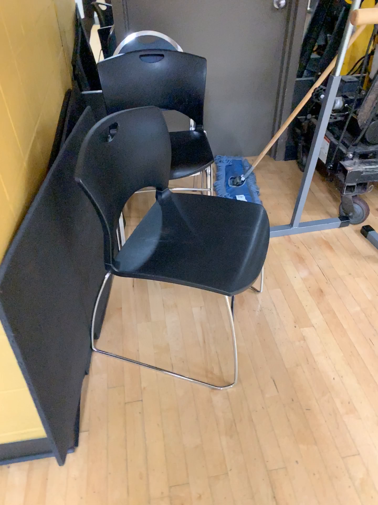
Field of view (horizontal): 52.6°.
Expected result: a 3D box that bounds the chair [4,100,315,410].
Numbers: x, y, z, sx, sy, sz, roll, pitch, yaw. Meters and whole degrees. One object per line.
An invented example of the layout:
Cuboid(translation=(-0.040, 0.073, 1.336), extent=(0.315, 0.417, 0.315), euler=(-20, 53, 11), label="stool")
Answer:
Cuboid(translation=(-0.027, -0.029, 1.348), extent=(0.726, 0.722, 0.639), euler=(12, 41, 14), label="chair")

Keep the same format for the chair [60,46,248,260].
Cuboid(translation=(-0.152, -0.522, 1.926), extent=(0.676, 0.762, 0.780), euler=(-3, 40, -4), label="chair")
